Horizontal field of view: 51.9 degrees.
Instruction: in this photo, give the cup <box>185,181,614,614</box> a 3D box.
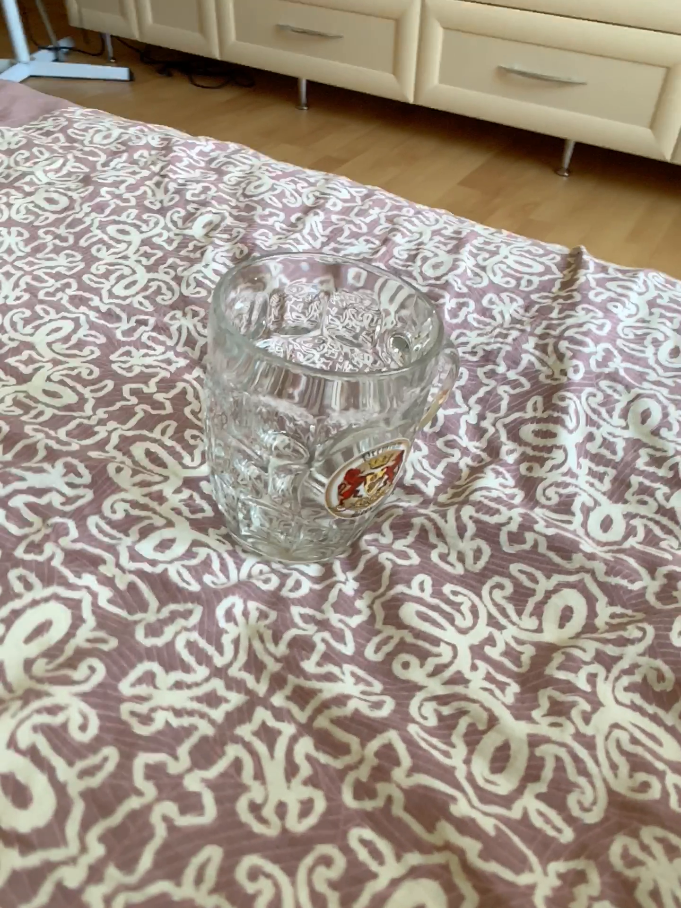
[{"bbox_3d":[0.020,-0.028,0.294,0.130,0.109,0.090,-29,55,-28],"label":"cup"}]
